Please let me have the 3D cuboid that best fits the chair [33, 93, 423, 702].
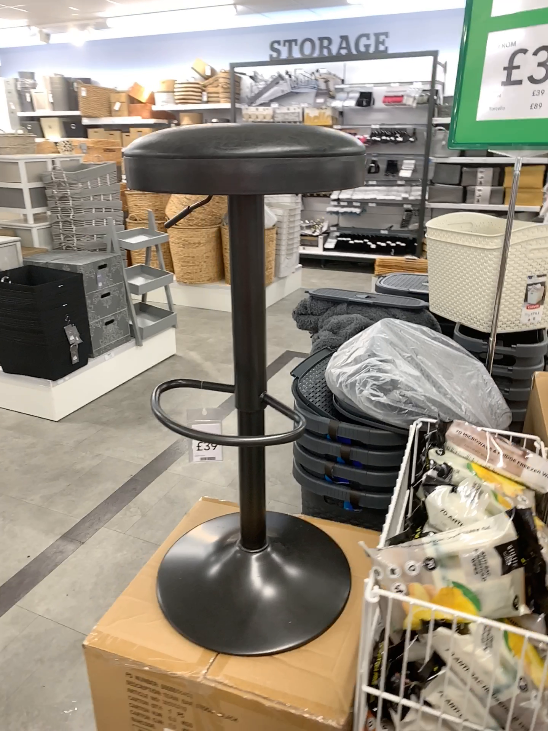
[{"bbox_3d":[-0.030,0.016,0.917,0.397,0.795,0.409,9,23,22],"label":"chair"}]
